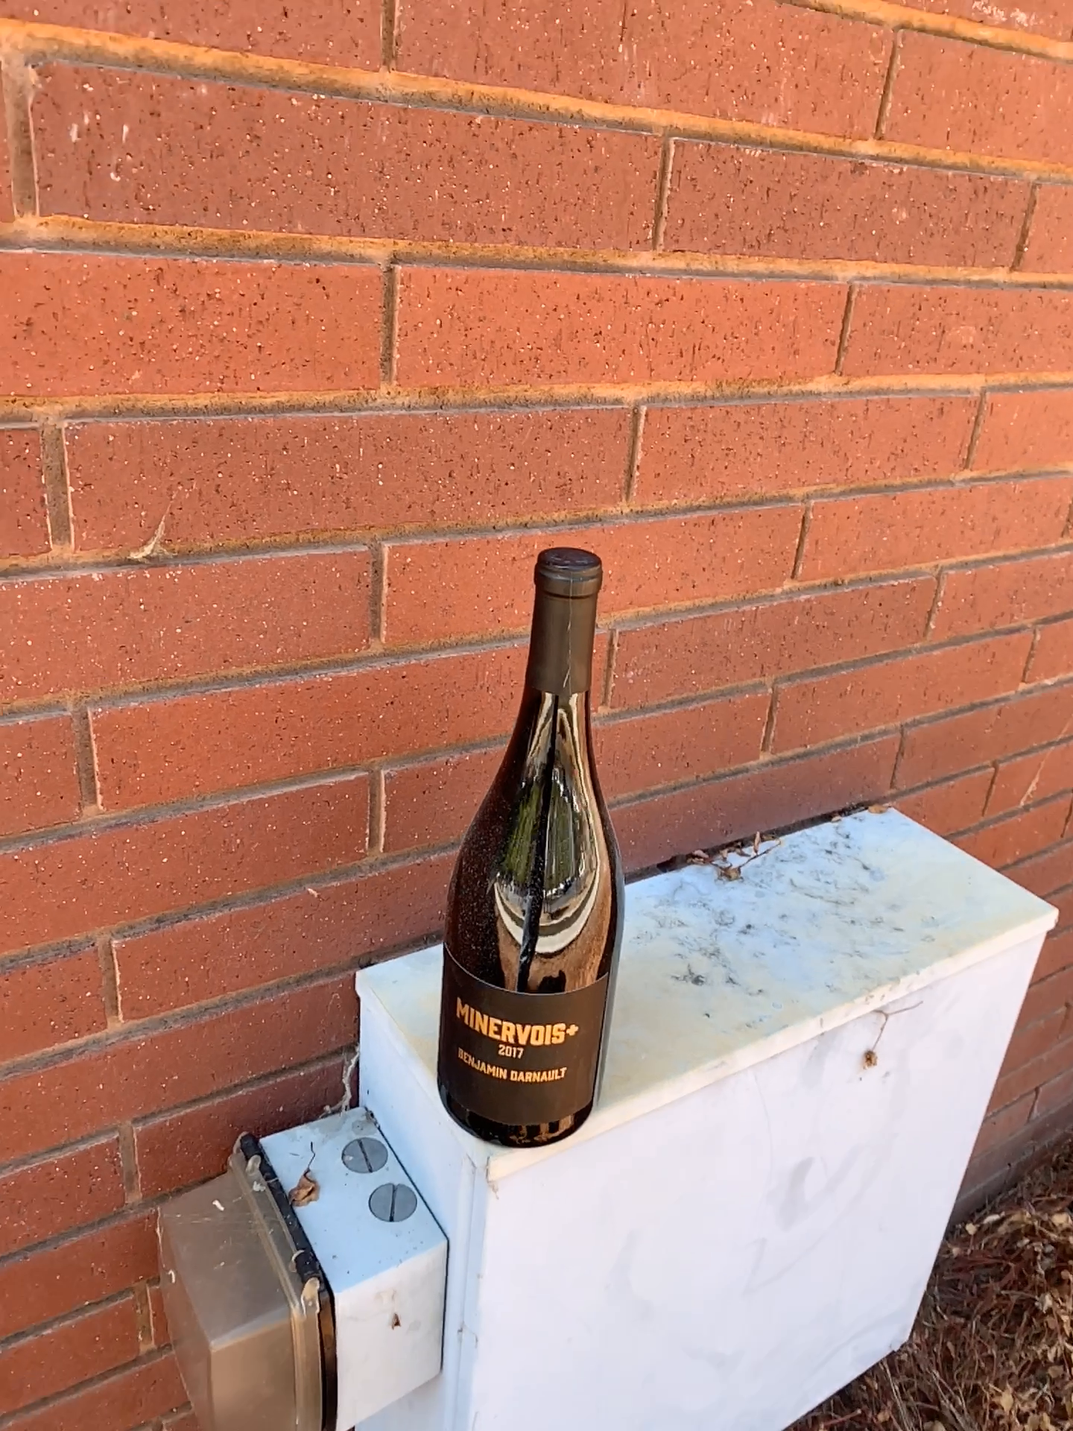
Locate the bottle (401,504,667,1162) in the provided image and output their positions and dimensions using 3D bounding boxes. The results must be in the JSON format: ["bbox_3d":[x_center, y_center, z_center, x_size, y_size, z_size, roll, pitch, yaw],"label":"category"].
[{"bbox_3d":[-0.004,0.060,0.513,0.090,0.289,0.090,4,25,-2],"label":"bottle"}]
